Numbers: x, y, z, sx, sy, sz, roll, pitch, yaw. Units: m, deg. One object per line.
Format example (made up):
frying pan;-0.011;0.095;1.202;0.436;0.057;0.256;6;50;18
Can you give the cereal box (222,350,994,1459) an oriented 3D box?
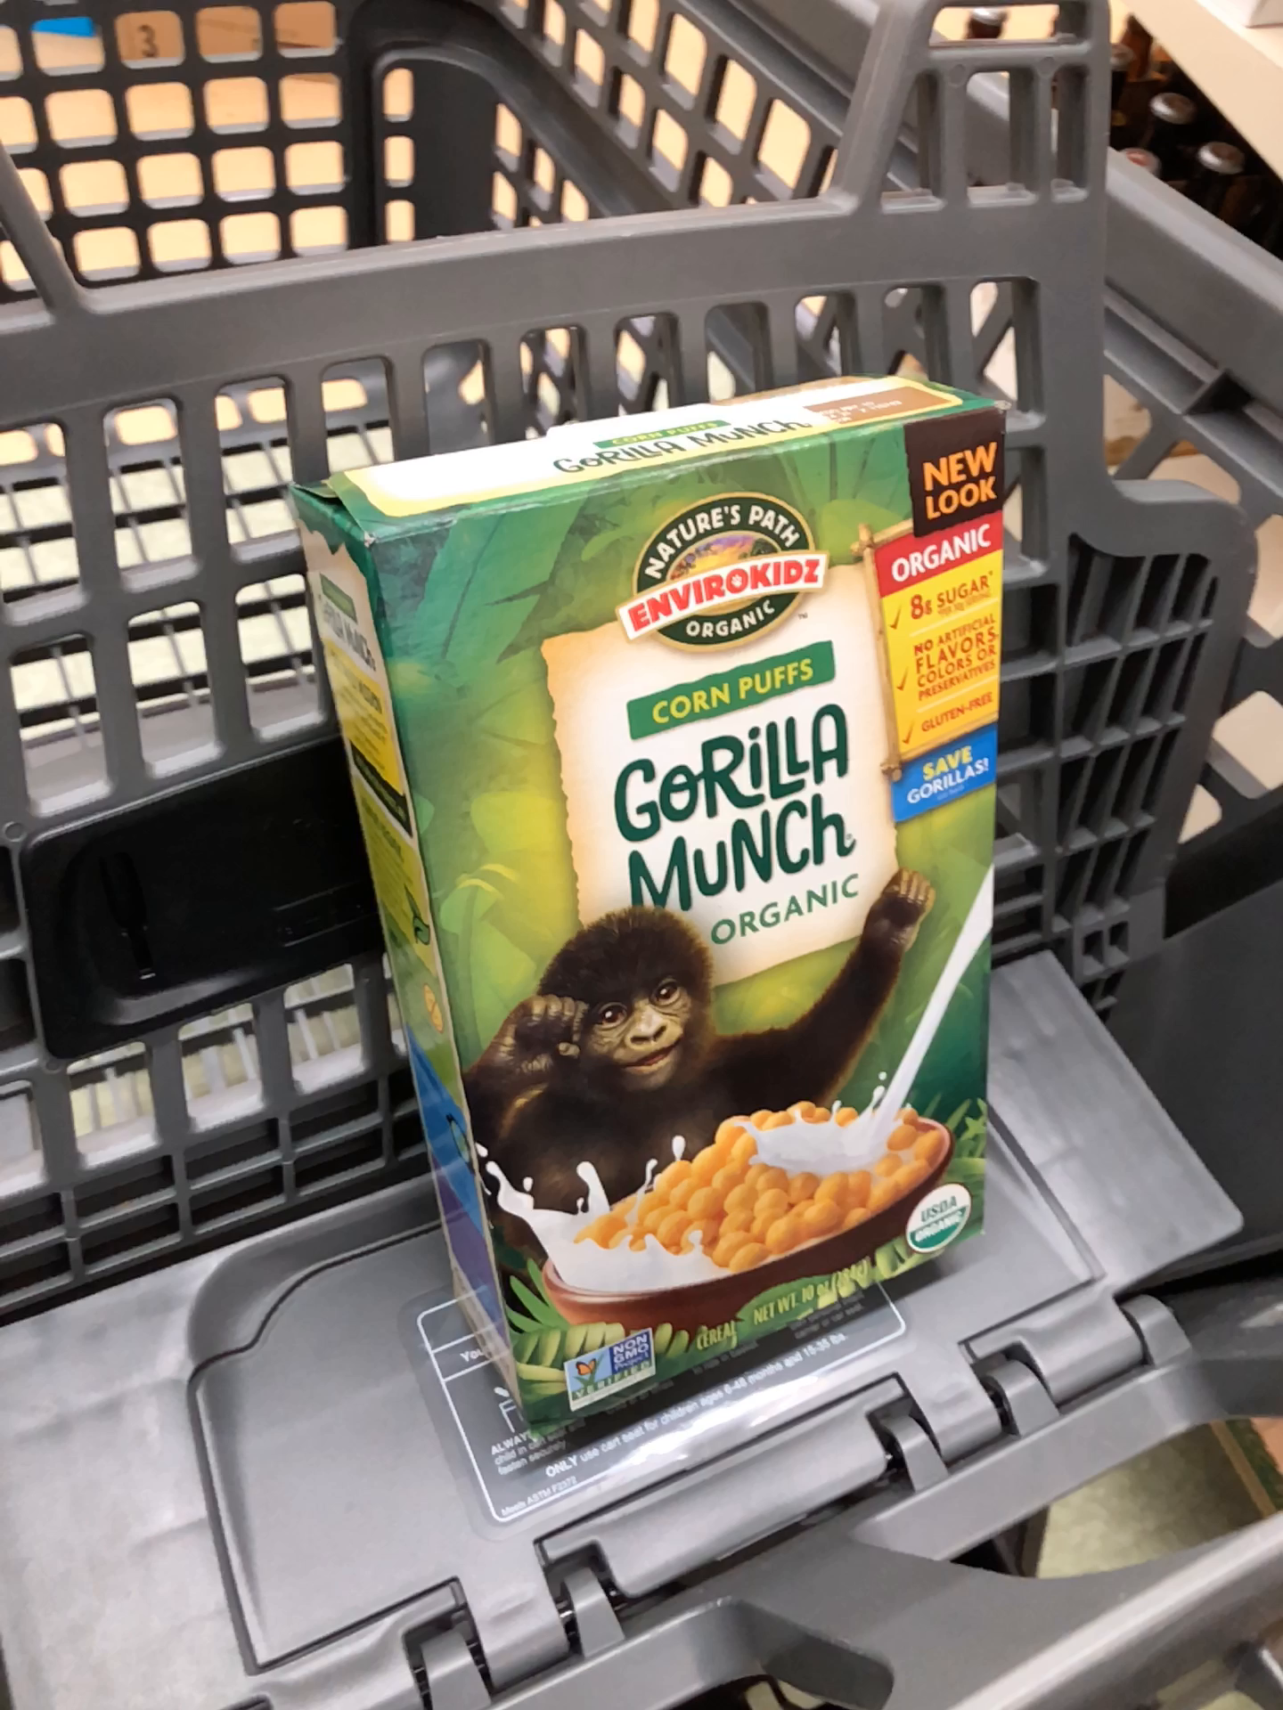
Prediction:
cereal box;0.004;0.016;0.384;0.160;0.260;0.070;-18;31;-21
